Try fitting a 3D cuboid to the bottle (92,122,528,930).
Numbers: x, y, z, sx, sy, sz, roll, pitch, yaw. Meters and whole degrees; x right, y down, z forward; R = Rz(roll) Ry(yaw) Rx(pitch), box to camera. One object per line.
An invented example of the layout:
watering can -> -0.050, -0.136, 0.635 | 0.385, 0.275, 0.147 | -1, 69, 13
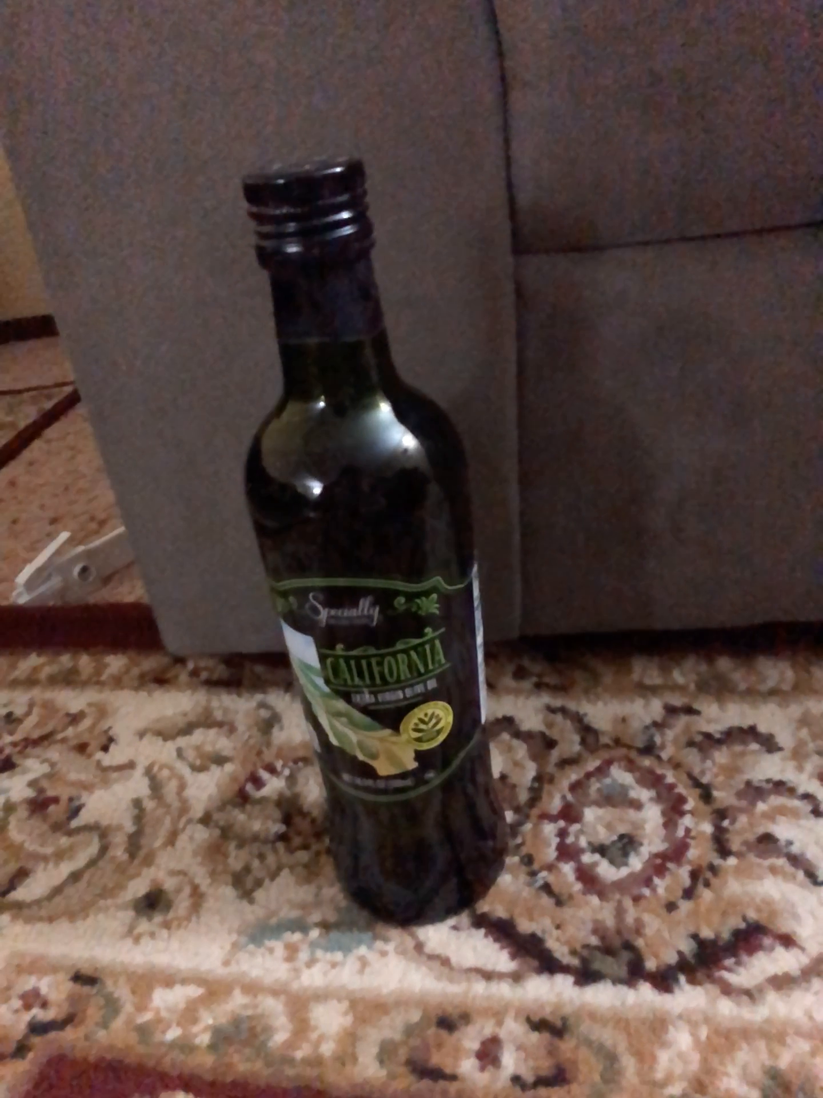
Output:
bottle -> -0.015, 0.007, 0.305 | 0.080, 0.259, 0.070 | -4, 27, 11
